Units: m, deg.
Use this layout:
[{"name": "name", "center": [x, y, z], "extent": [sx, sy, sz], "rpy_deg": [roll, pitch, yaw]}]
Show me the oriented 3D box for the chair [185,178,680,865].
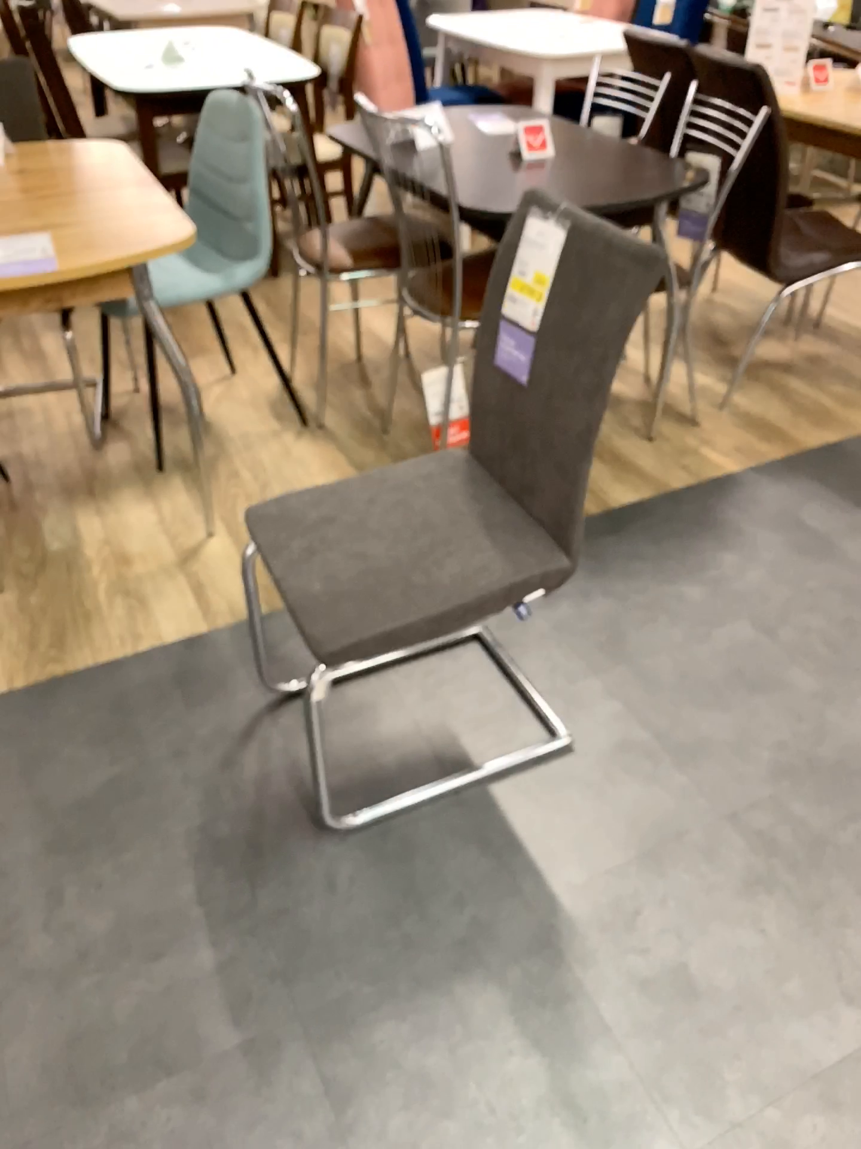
[{"name": "chair", "center": [-0.014, -0.071, 1.508], "extent": [0.540, 0.974, 0.437], "rpy_deg": [-16, 40, -19]}]
